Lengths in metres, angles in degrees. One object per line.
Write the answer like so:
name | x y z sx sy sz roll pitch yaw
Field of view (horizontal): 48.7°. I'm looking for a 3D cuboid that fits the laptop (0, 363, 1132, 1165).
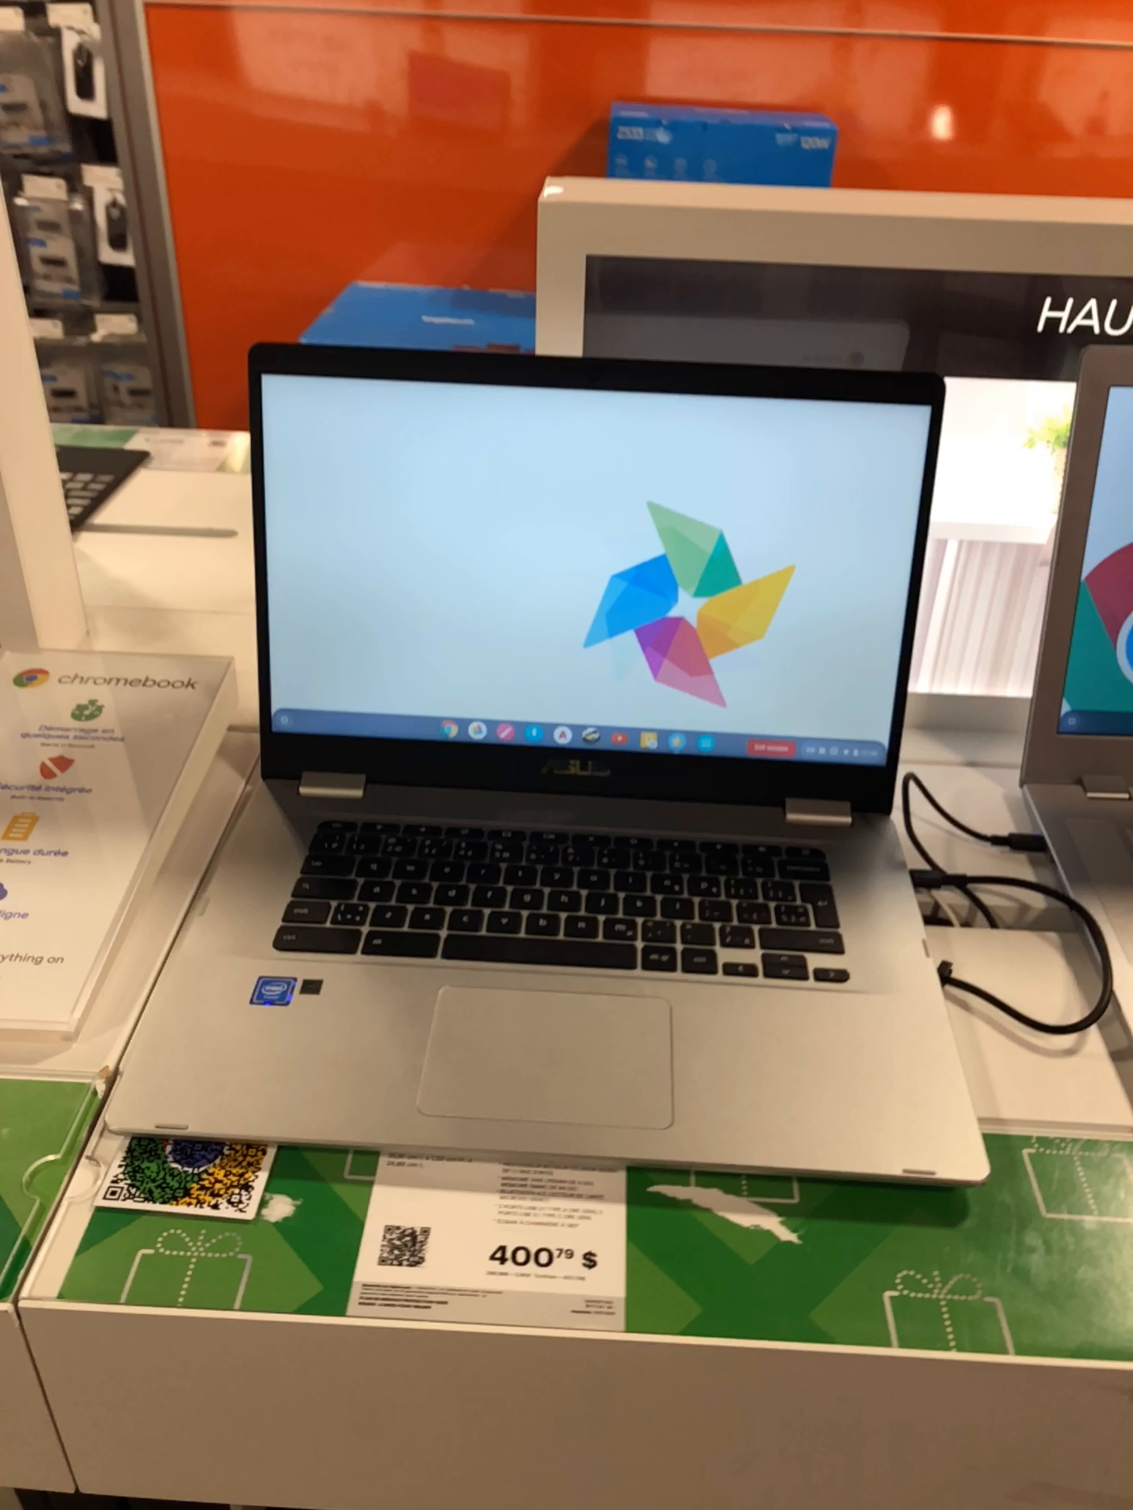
laptop | 0.007 -0.017 0.550 0.337 0.225 0.287 3 32 2
